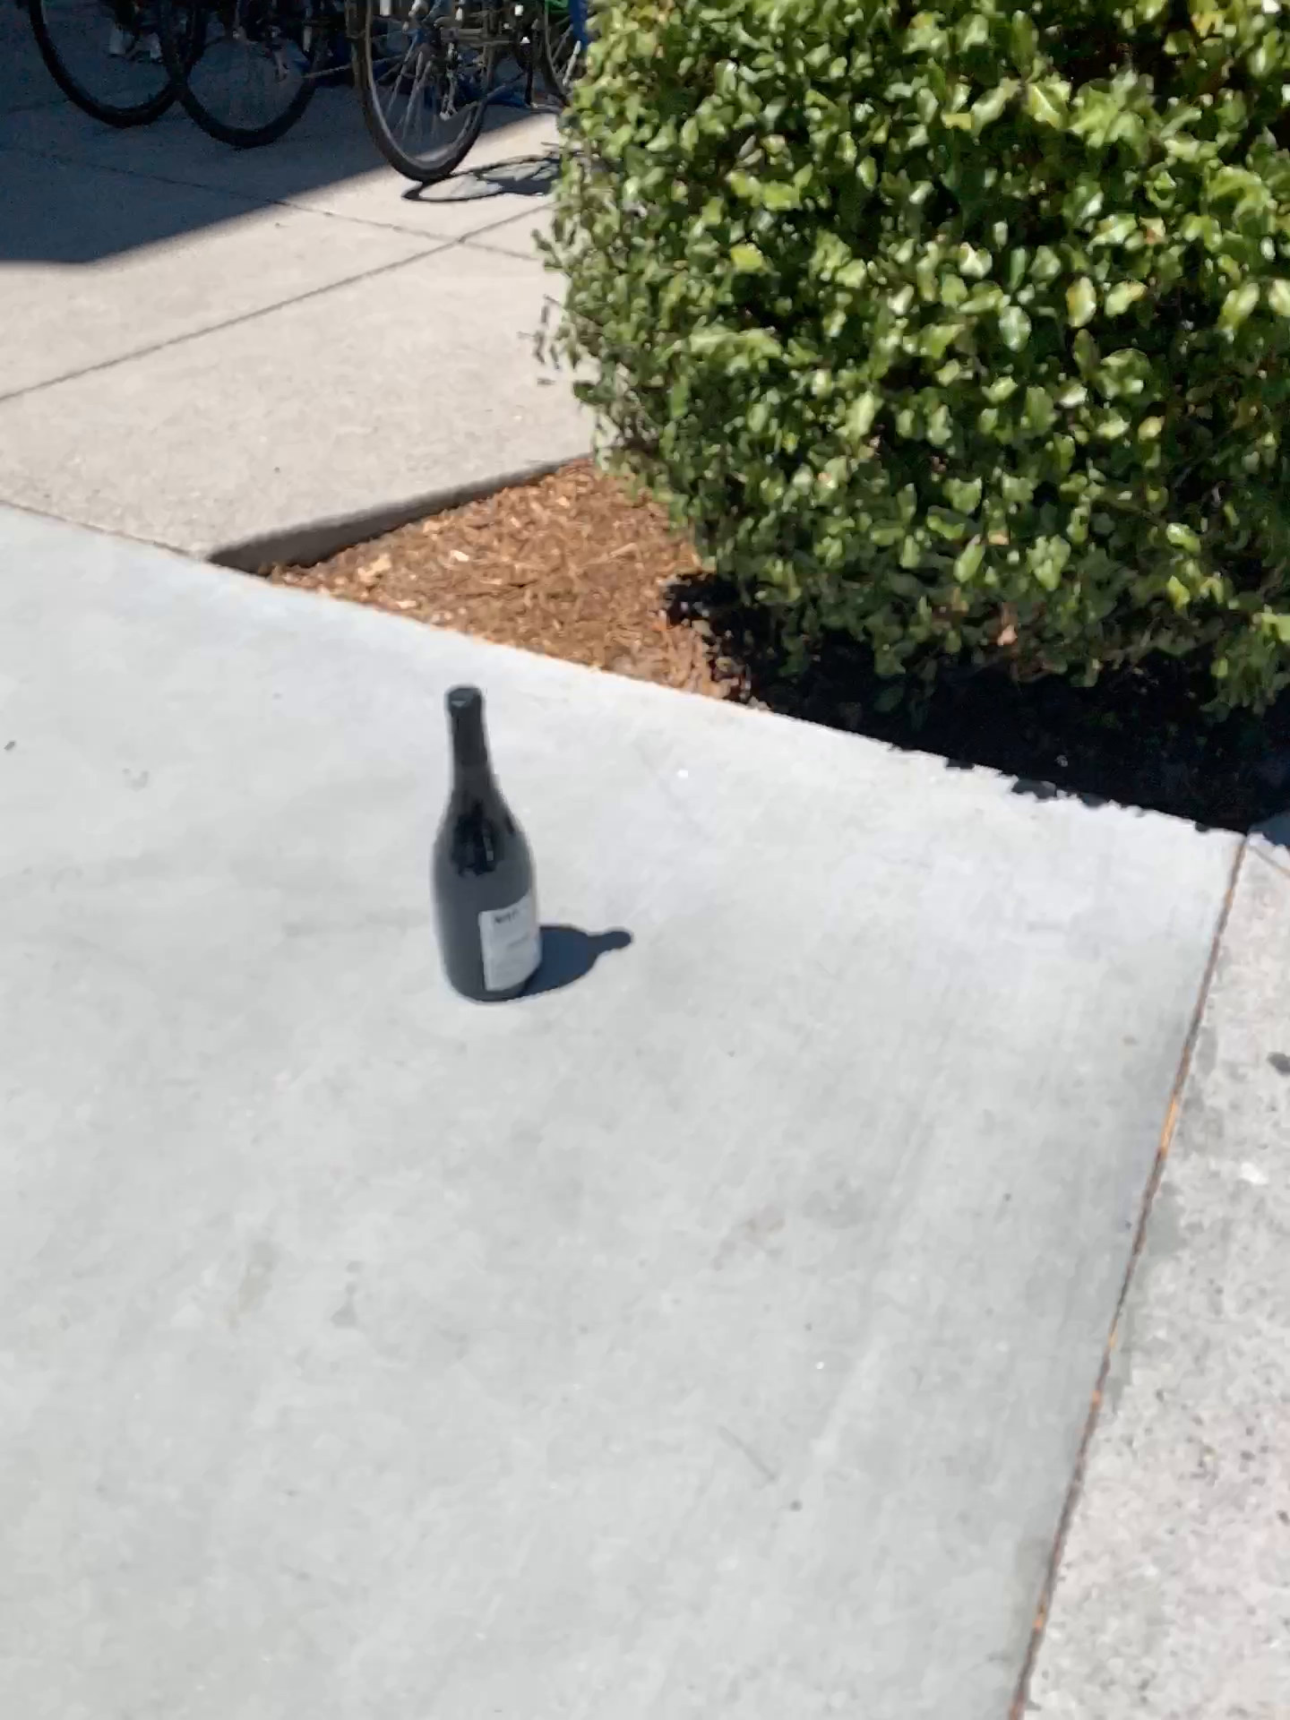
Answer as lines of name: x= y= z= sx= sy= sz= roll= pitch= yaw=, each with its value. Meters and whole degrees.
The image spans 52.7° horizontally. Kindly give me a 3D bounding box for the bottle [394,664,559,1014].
bottle: x=-0.129 y=-0.011 z=1.022 sx=0.090 sy=0.258 sz=0.090 roll=3 pitch=40 yaw=-2
